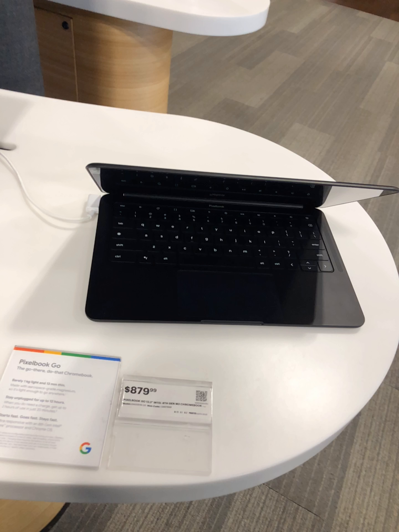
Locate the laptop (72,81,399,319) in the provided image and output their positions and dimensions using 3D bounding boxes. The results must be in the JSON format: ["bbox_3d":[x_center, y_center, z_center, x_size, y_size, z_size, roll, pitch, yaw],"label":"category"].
[{"bbox_3d":[0.028,-0.066,0.467,0.278,0.146,0.192,3,46,-11],"label":"laptop"}]
